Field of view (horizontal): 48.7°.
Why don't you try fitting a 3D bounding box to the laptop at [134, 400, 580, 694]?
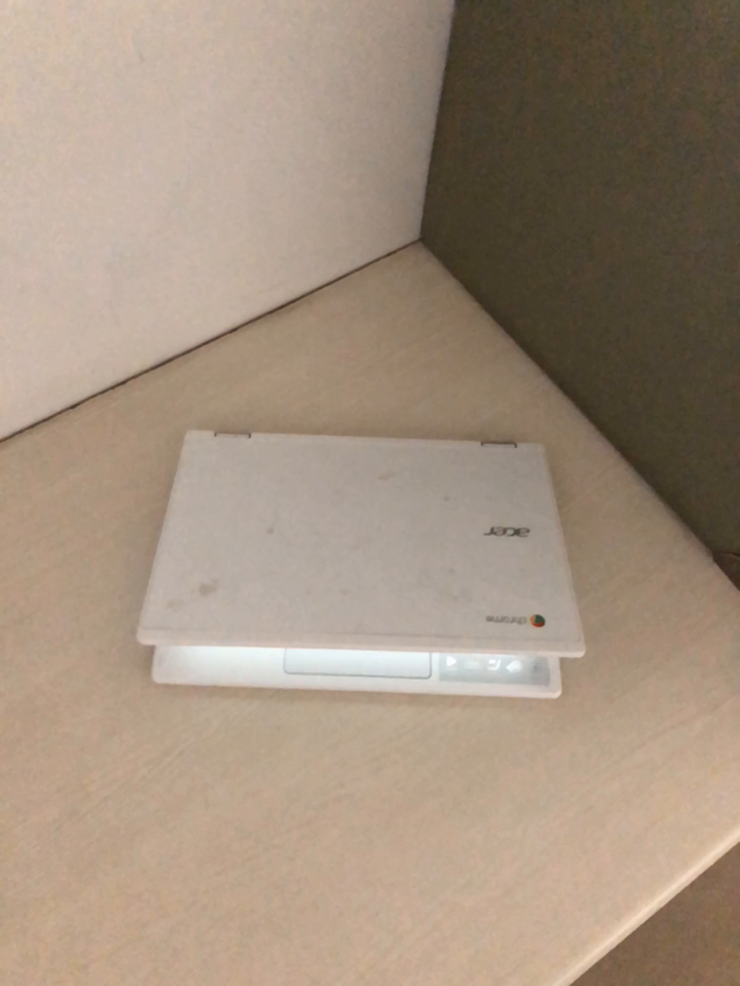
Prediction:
[{"bbox_3d":[-0.006,0.036,0.585,0.282,0.055,0.192,3,62,-1],"label":"laptop"}]
